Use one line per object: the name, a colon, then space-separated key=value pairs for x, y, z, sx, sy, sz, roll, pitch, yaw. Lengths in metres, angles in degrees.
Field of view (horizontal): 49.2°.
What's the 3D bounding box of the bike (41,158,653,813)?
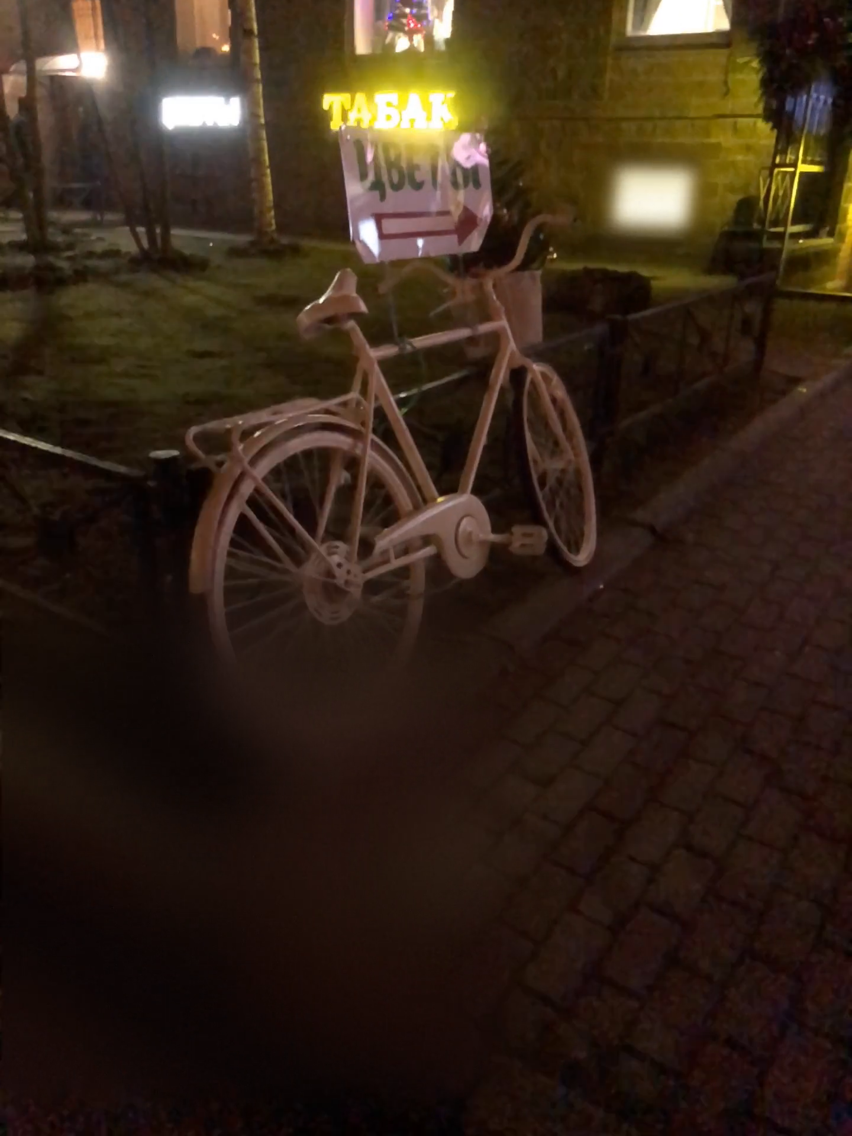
bike: x=-0.035 y=-0.449 z=2.570 sx=0.606 sy=1.119 sz=1.836 roll=14 pitch=30 yaw=28
